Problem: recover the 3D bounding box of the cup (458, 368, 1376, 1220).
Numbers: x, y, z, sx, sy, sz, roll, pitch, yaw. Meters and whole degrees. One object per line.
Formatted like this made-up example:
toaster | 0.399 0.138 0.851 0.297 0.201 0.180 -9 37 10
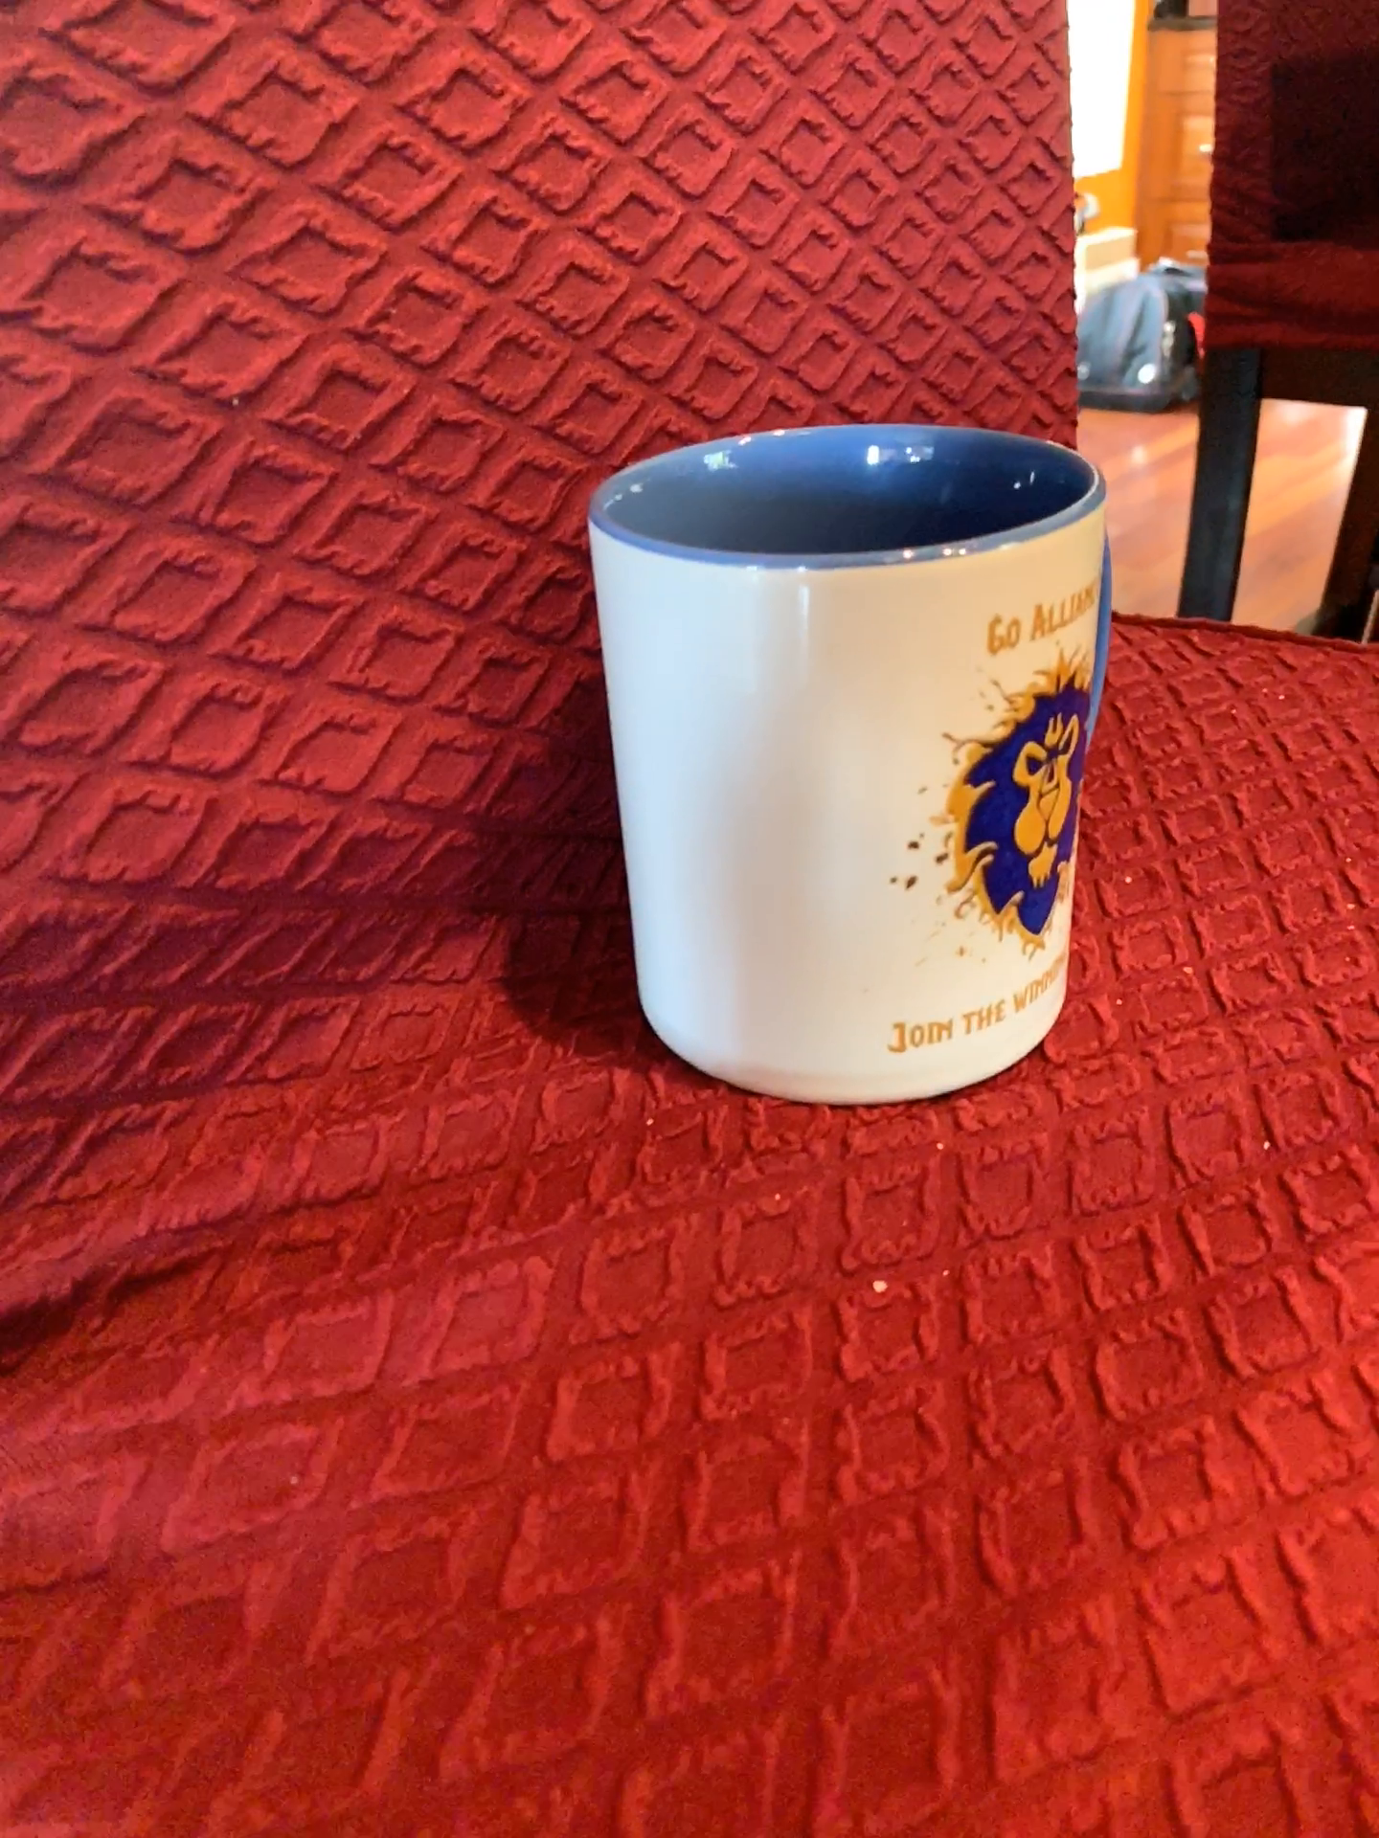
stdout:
cup | 0.045 -0.037 0.274 0.100 0.099 0.130 25 41 38
